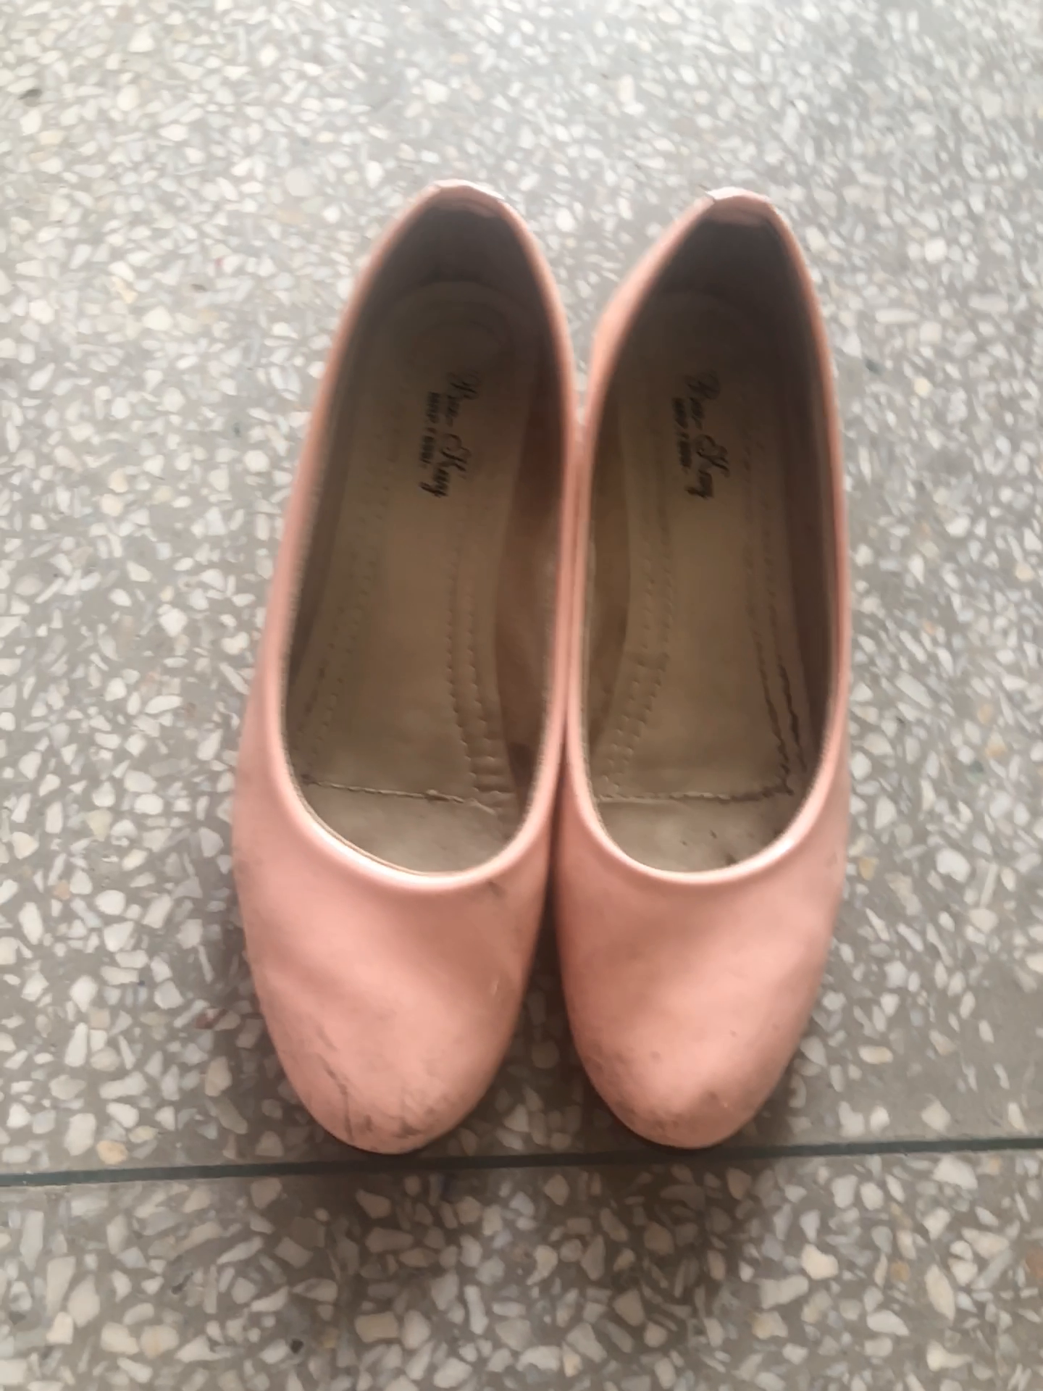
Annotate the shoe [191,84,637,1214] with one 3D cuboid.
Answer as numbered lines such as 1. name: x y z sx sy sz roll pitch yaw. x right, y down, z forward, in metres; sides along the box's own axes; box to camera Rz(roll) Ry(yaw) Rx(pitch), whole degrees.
1. shoe: -0.026 -0.011 0.306 0.090 0.070 0.260 3 87 -4

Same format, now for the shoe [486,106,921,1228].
1. shoe: 0.043 -0.010 0.303 0.090 0.070 0.260 3 80 -4
